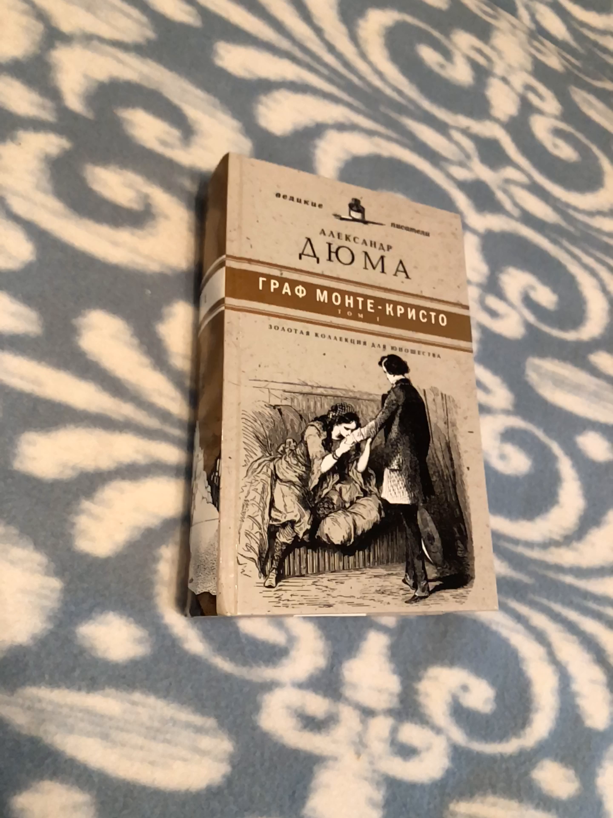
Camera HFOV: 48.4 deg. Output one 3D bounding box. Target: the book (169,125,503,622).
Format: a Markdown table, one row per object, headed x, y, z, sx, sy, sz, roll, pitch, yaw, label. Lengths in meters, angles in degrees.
| x | y | z | sx | sy | sz | roll | pitch | yaw | label |
| --- | --- | --- | --- | --- | --- | --- | --- | --- | --- |
| 0.013 | -0.013 | 0.320 | 0.138 | 0.040 | 0.212 | 7 | 70 | -25 | book |
